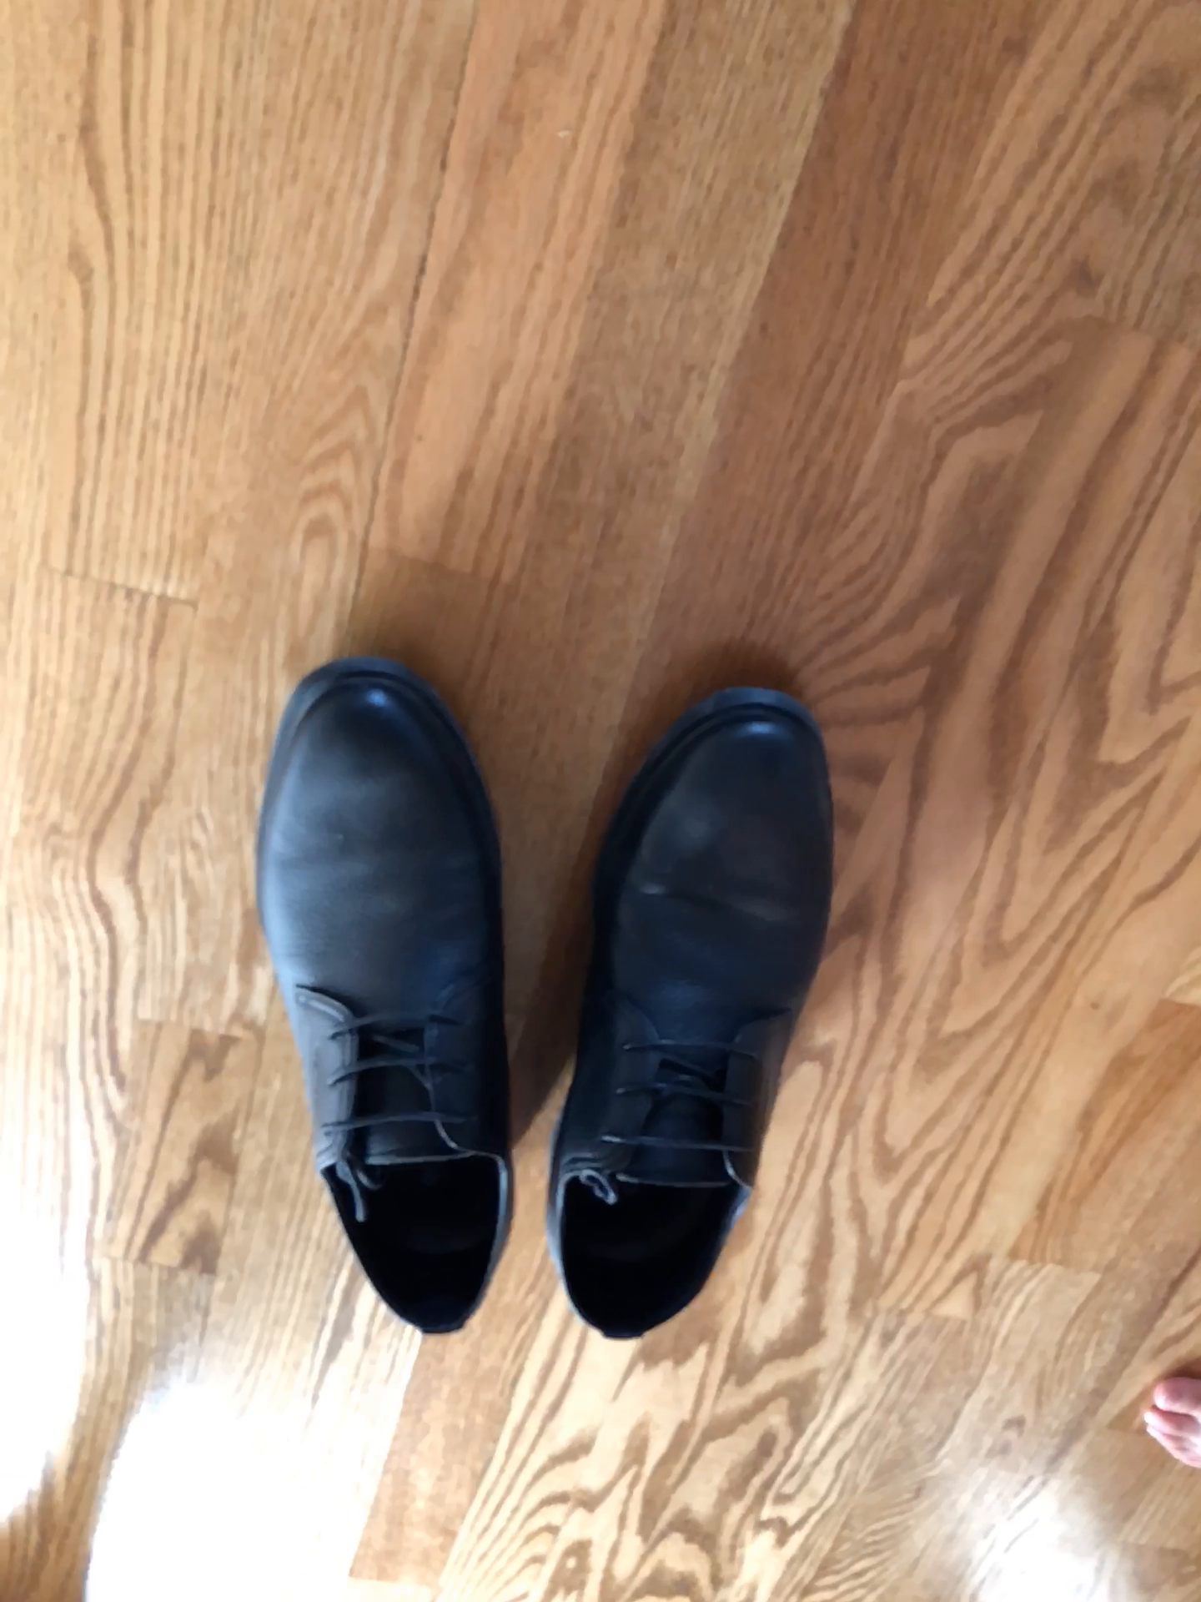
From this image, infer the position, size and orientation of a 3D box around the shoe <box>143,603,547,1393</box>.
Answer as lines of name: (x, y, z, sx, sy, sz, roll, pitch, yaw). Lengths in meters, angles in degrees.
shoe: (-0.087, 0.087, 0.554, 0.110, 0.124, 0.305, -3, 118, -1)

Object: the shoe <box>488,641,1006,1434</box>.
shoe: (0.041, 0.105, 0.556, 0.110, 0.124, 0.300, 12, 117, -9)
